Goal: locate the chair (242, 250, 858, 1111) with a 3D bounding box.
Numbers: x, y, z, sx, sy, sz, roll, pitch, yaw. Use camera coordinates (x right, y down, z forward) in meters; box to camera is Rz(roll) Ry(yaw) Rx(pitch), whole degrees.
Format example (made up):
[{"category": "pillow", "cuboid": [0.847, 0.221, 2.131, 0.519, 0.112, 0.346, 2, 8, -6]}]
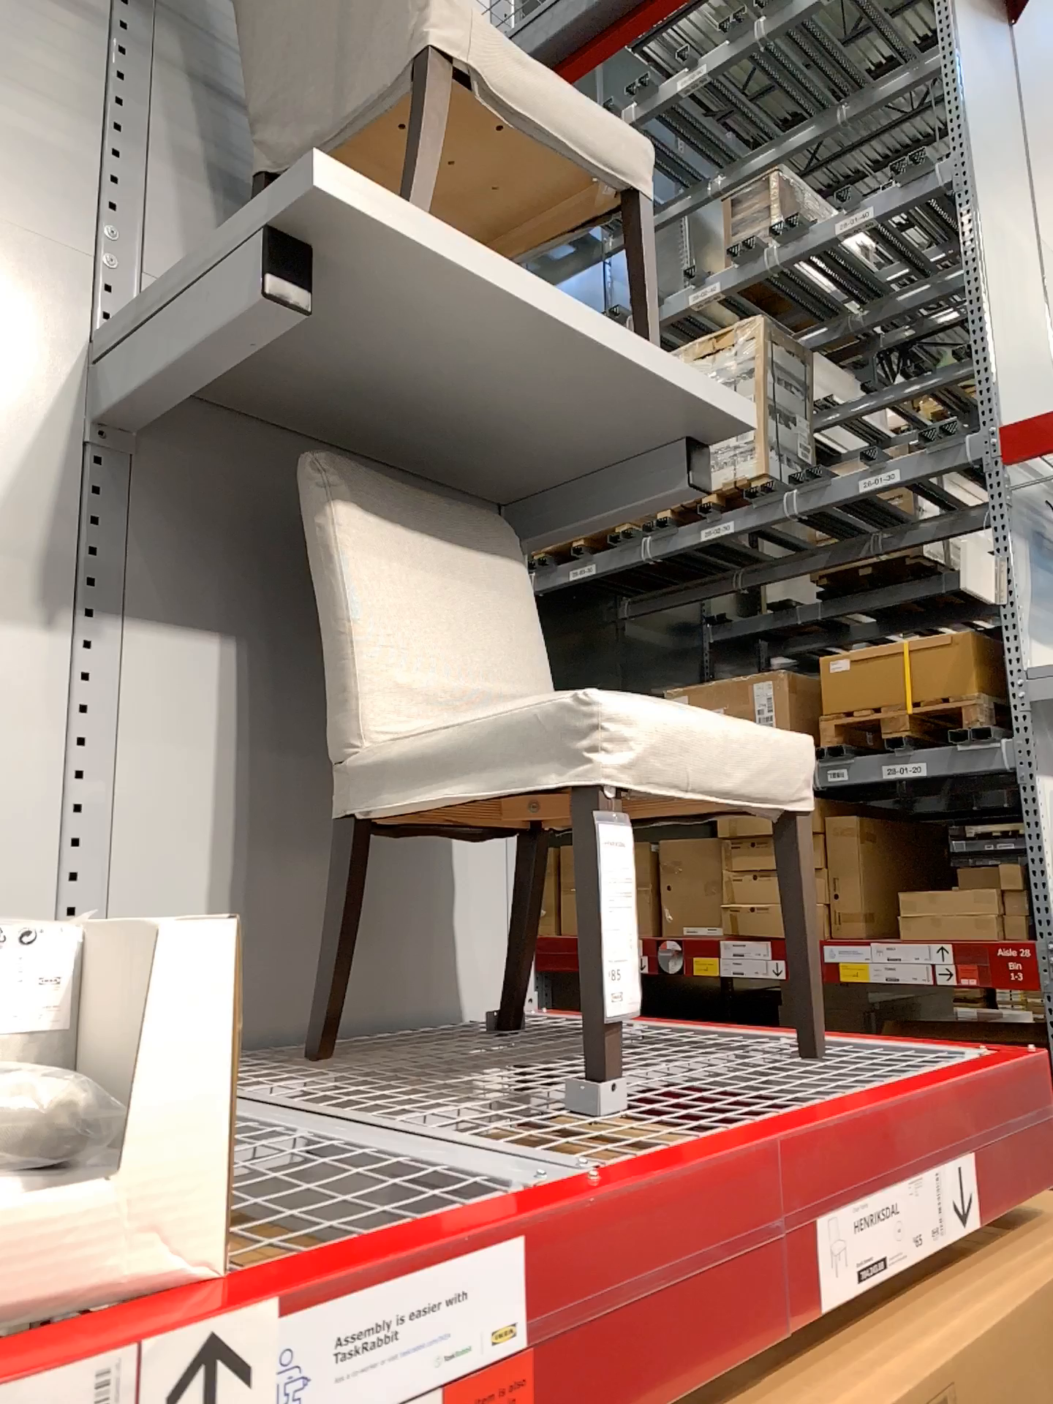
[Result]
[{"category": "chair", "cuboid": [0.021, 0.018, 1.619, 0.669, 0.983, 0.559, -11, -15, 40]}]
